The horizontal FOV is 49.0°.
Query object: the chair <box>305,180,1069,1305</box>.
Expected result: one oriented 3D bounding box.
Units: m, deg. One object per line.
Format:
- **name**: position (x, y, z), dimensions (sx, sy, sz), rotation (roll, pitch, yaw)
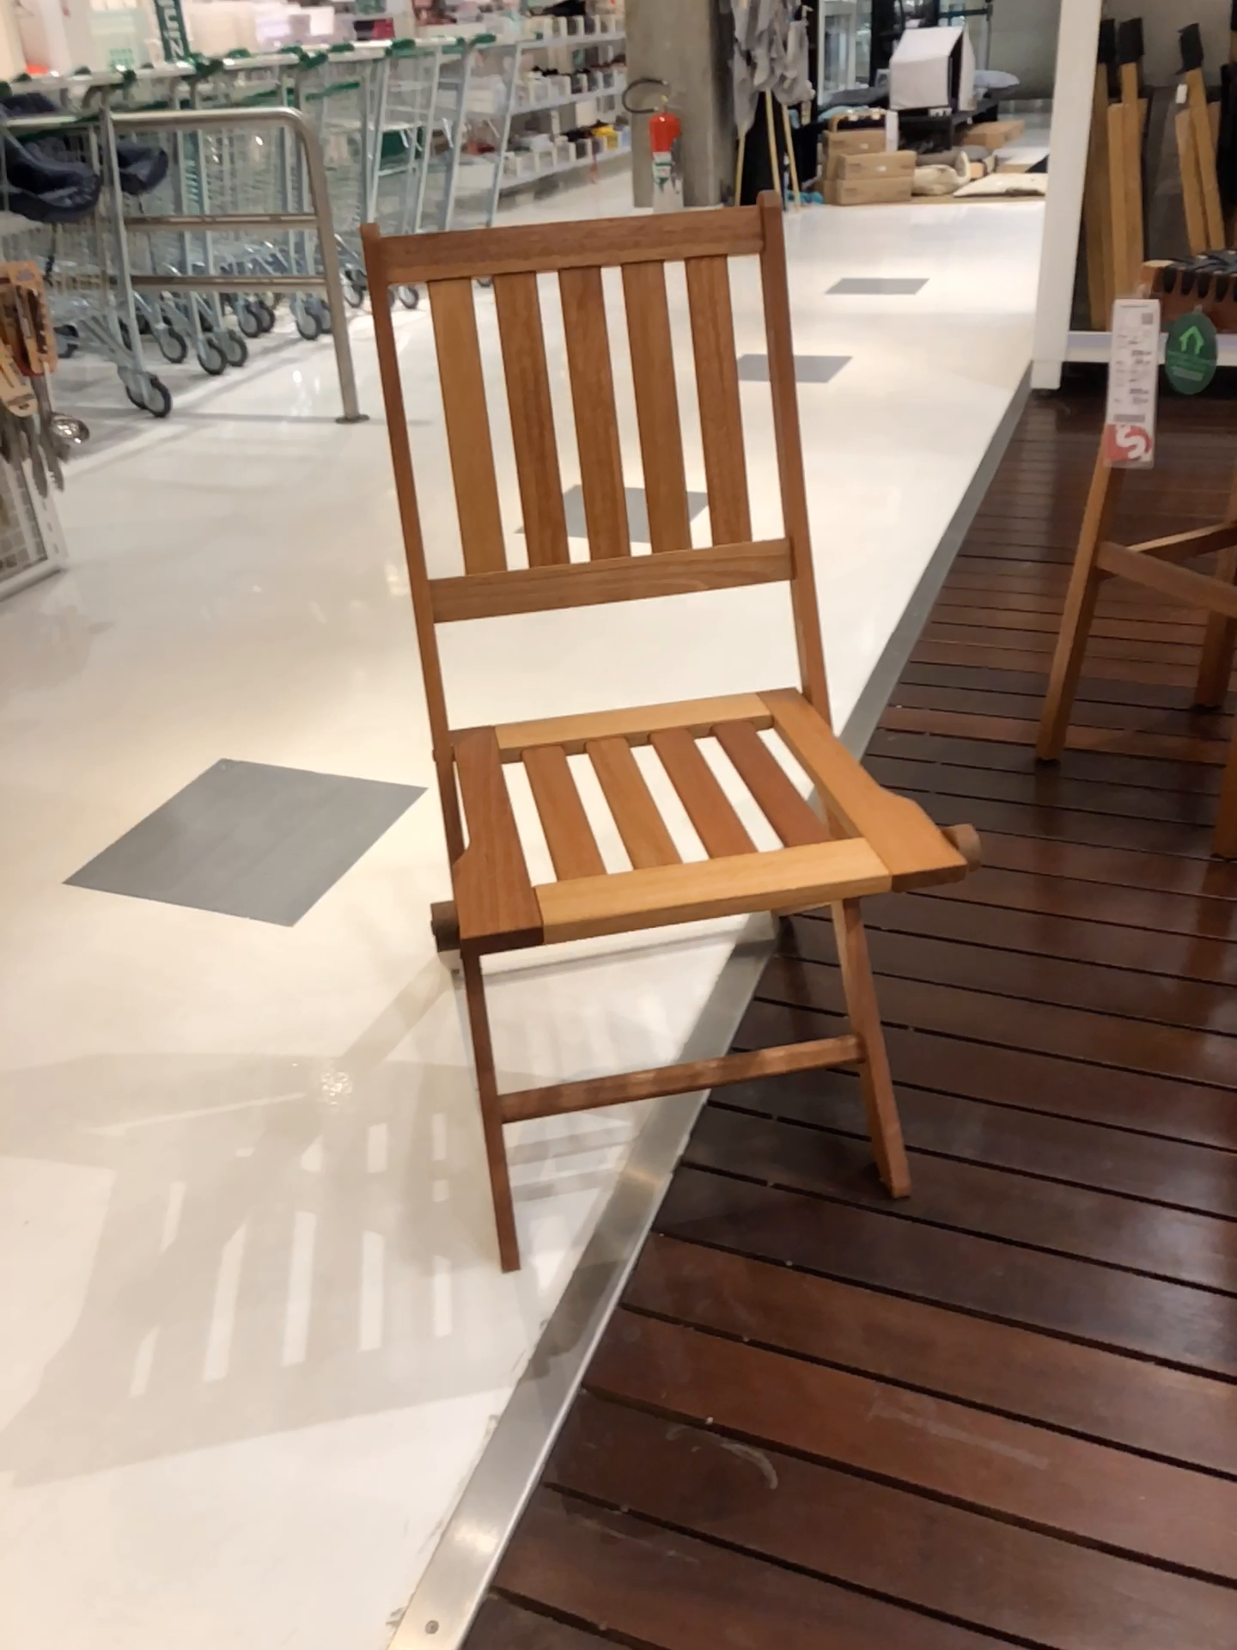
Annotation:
- **chair**: position (0.022, -0.115, 1.336), dimensions (0.500, 0.864, 0.604), rotation (-9, 30, -8)
